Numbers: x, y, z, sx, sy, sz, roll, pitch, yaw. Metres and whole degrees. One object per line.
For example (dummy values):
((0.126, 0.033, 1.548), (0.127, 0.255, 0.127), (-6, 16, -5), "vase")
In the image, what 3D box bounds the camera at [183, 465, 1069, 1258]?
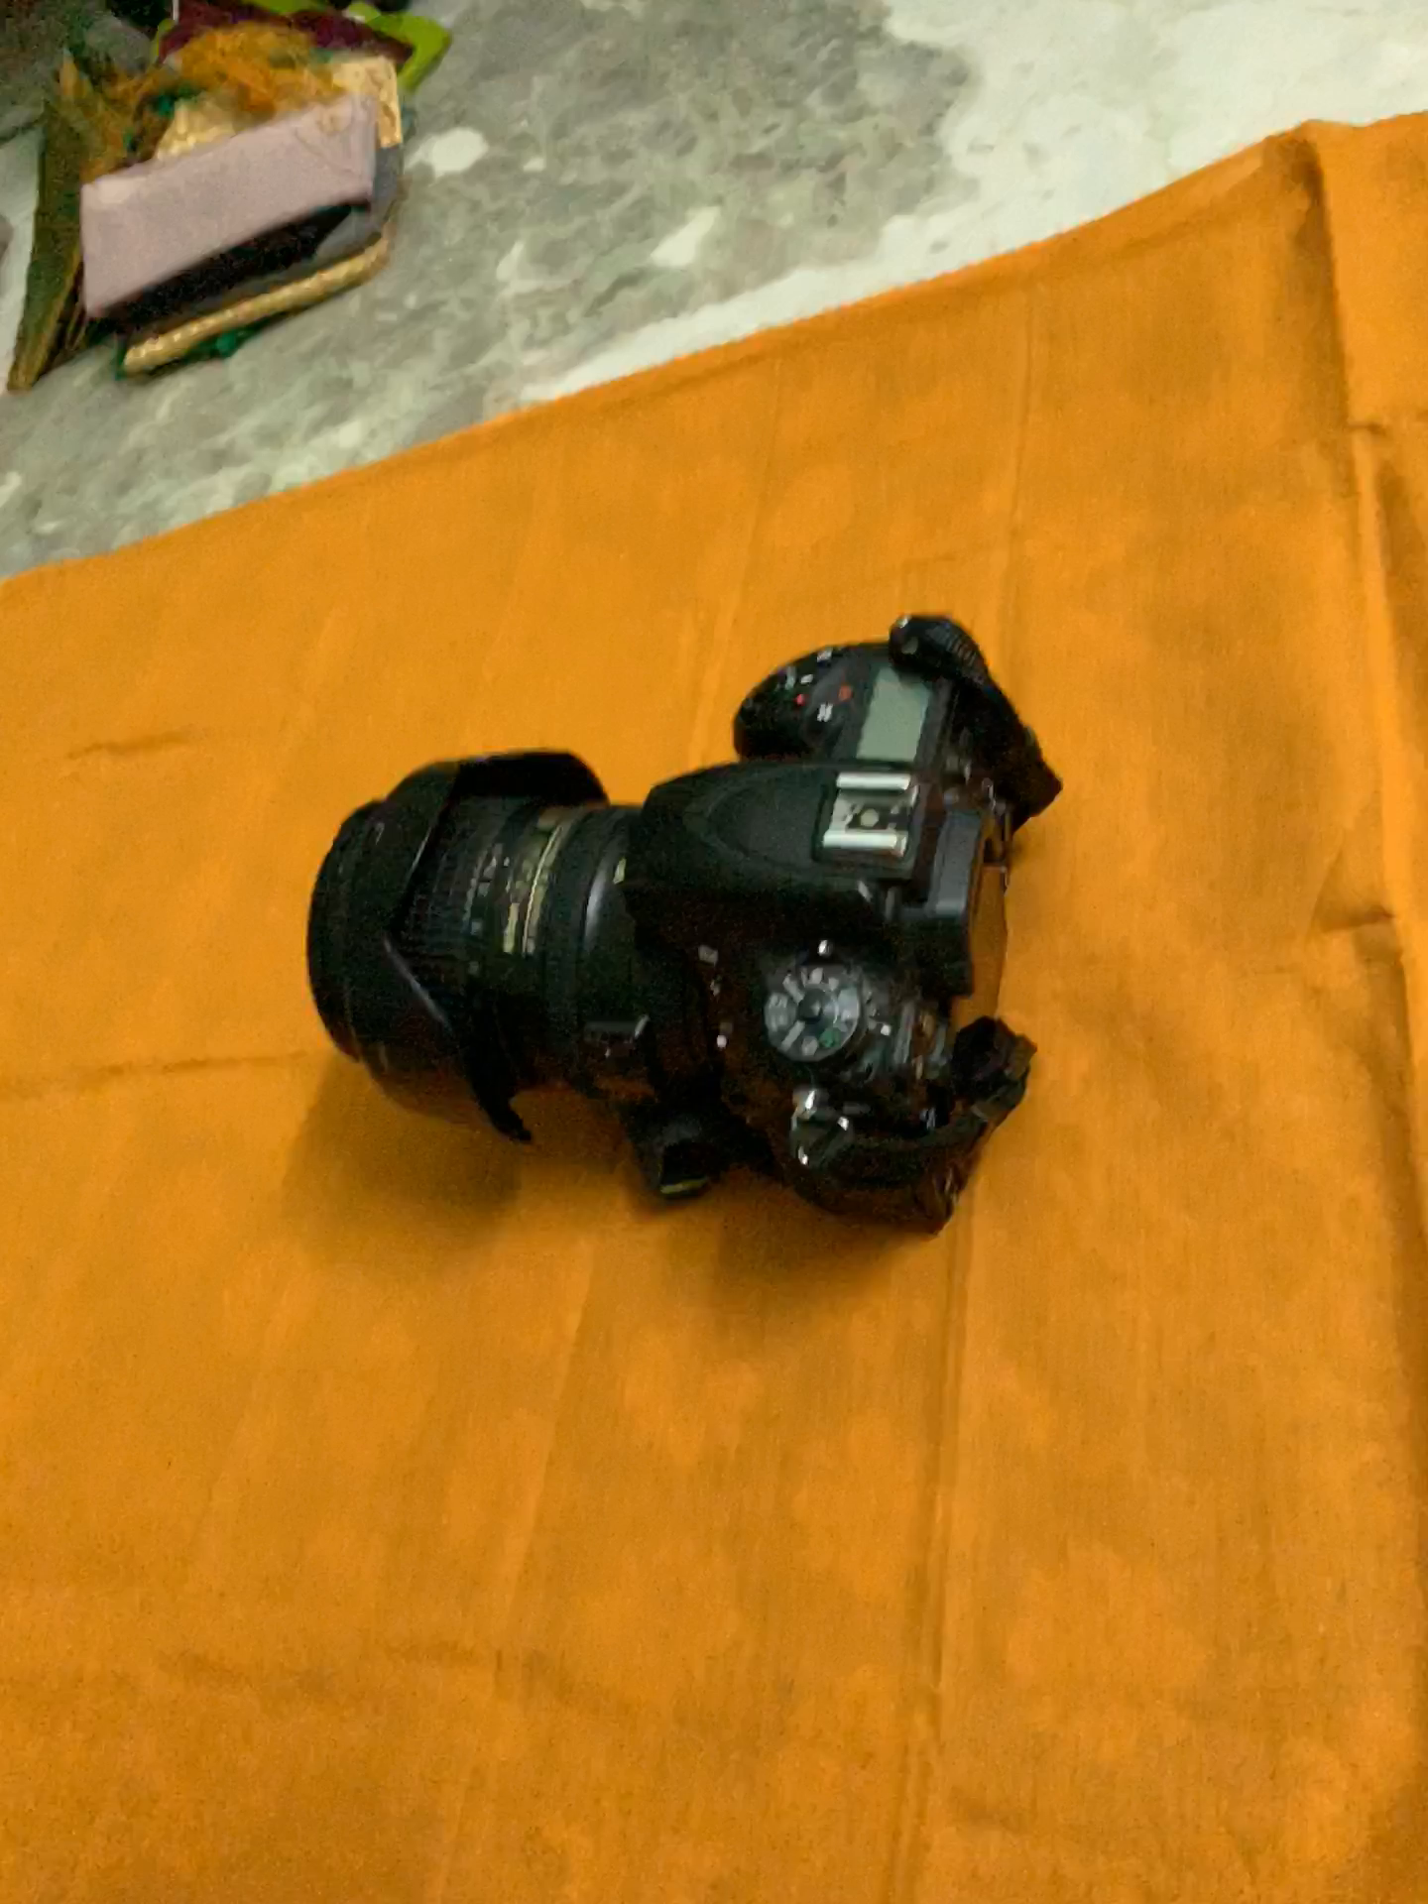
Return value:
((-0.012, -0.016, 0.386), (0.171, 0.110, 0.152), (-4, 54, 28), "camera")
